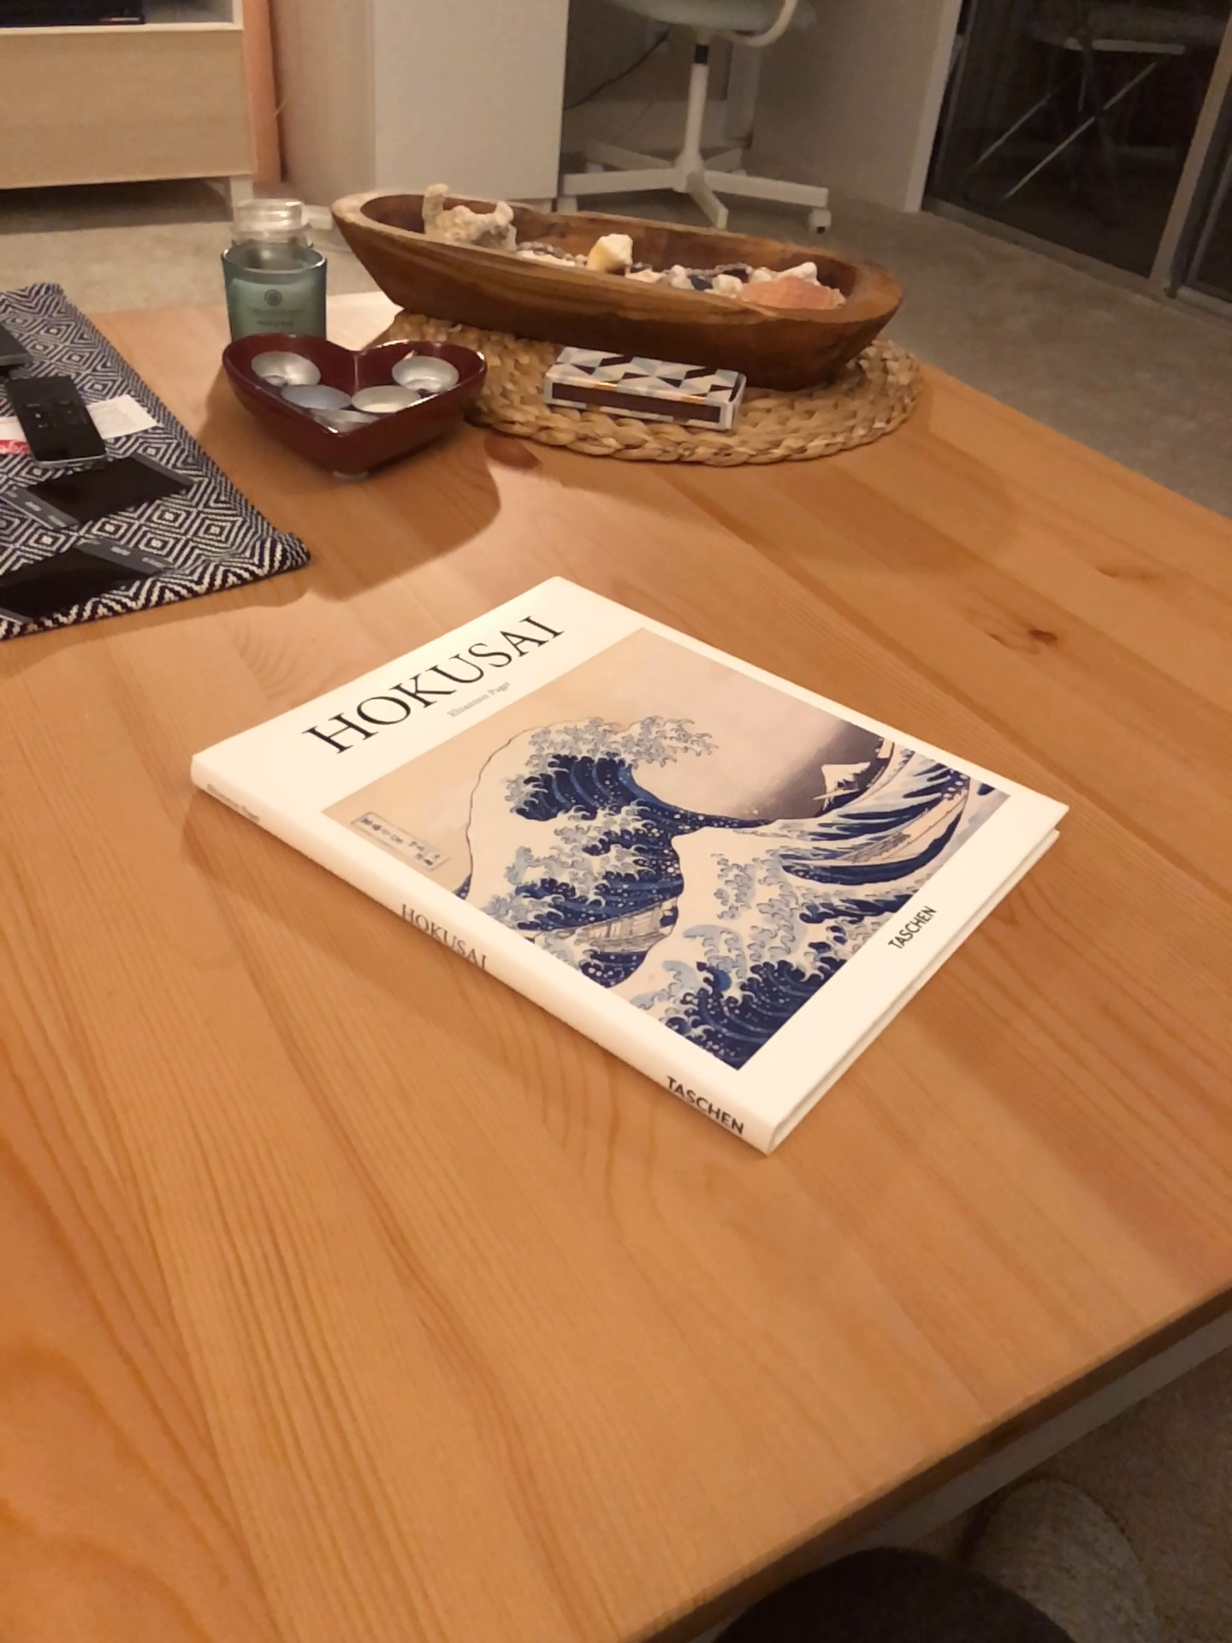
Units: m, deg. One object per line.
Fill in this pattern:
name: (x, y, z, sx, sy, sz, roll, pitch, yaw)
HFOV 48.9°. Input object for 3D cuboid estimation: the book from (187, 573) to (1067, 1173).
book: (0.008, -0.007, 0.507, 0.252, 0.020, 0.211, 29, 42, 27)
